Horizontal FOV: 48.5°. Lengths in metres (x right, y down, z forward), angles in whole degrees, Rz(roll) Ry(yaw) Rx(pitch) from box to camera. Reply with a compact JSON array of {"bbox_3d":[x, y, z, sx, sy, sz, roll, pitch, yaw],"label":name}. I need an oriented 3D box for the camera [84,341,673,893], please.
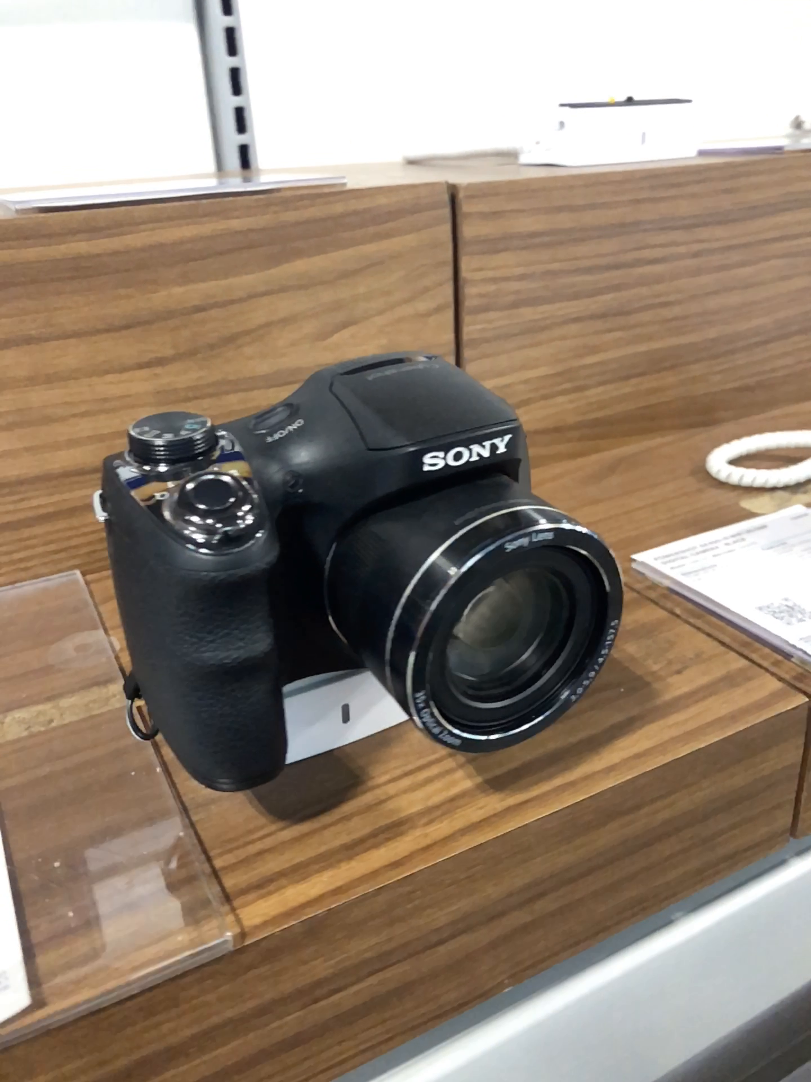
[{"bbox_3d":[-0.007,0.006,0.243,0.120,0.092,0.090,-15,25,-26],"label":"camera"}]
